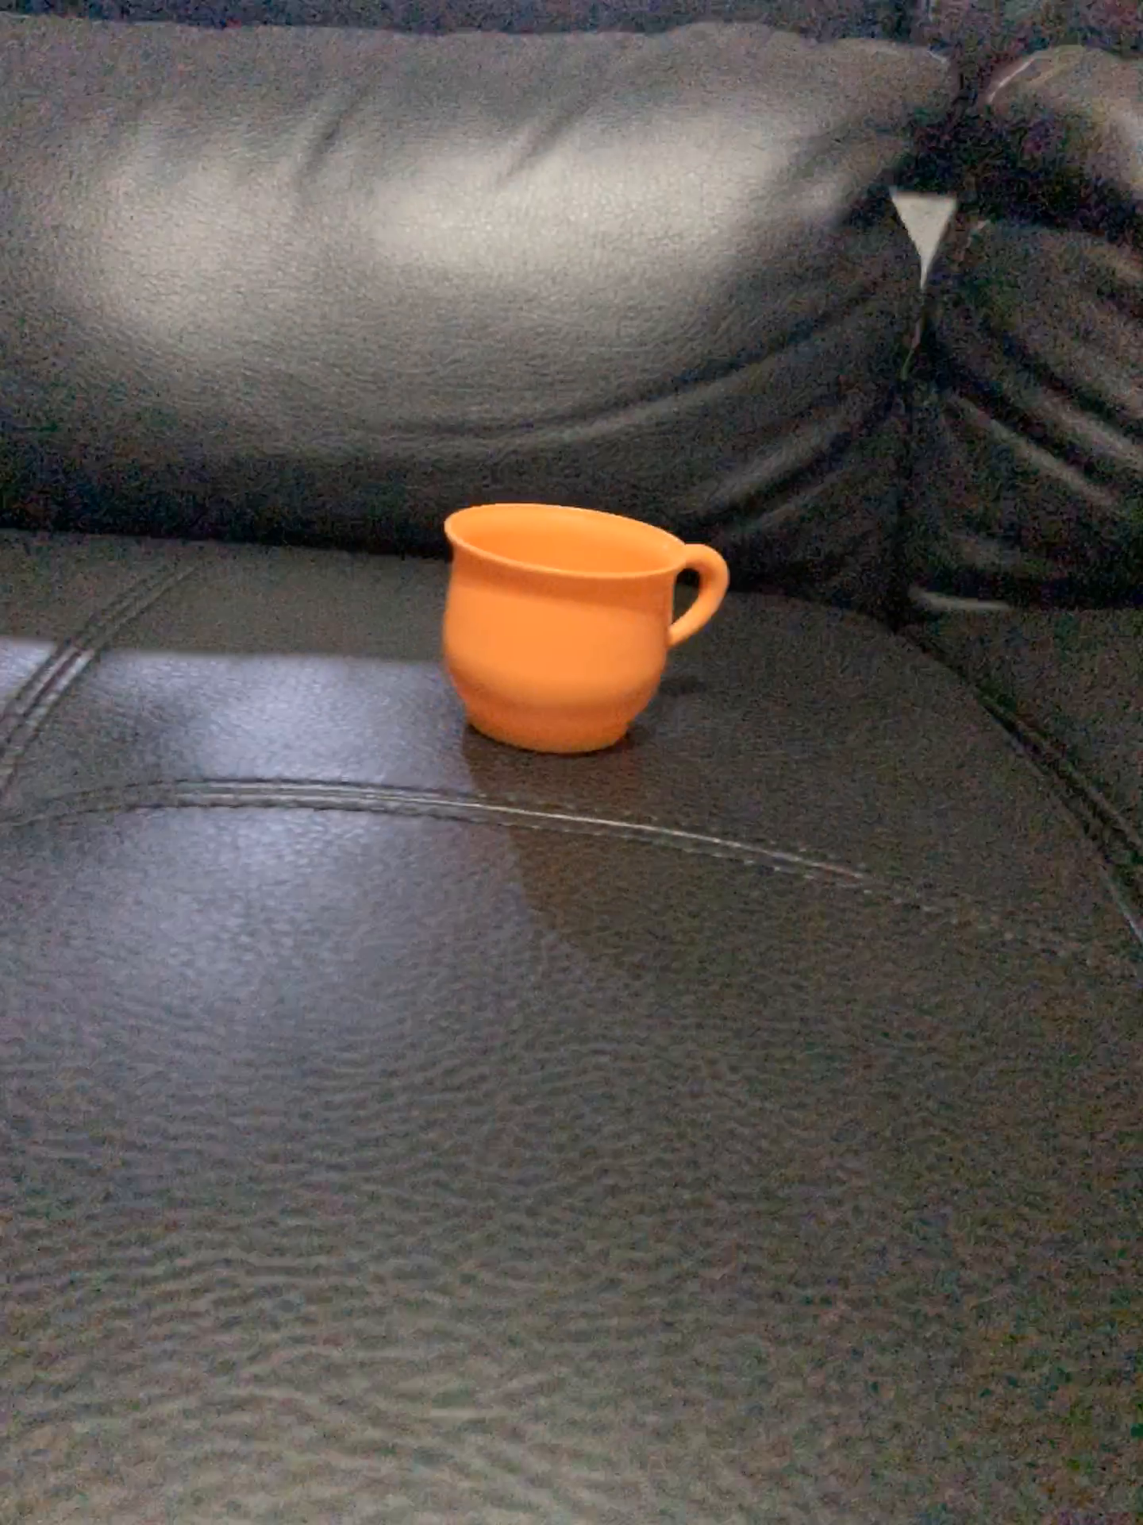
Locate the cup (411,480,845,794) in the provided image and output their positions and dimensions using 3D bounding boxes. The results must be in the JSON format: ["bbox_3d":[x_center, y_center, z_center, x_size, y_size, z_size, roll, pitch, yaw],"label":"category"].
[{"bbox_3d":[0.011,-0.035,0.289,0.081,0.046,0.063,-12,33,-31],"label":"cup"}]
